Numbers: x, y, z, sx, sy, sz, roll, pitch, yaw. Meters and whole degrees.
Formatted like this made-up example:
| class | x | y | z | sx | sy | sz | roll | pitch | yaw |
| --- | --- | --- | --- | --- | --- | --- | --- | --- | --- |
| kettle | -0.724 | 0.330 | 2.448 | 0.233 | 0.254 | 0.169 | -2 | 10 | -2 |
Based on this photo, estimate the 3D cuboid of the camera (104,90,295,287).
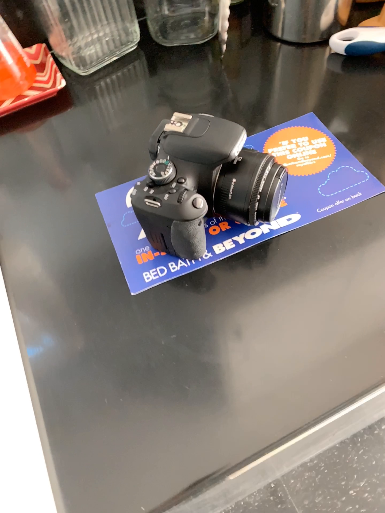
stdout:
| class | x | y | z | sx | sy | sz | roll | pitch | yaw |
| --- | --- | --- | --- | --- | --- | --- | --- | --- | --- |
| camera | 0.014 | -0.064 | 0.364 | 0.118 | 0.098 | 0.123 | 18 | 61 | 19 |
